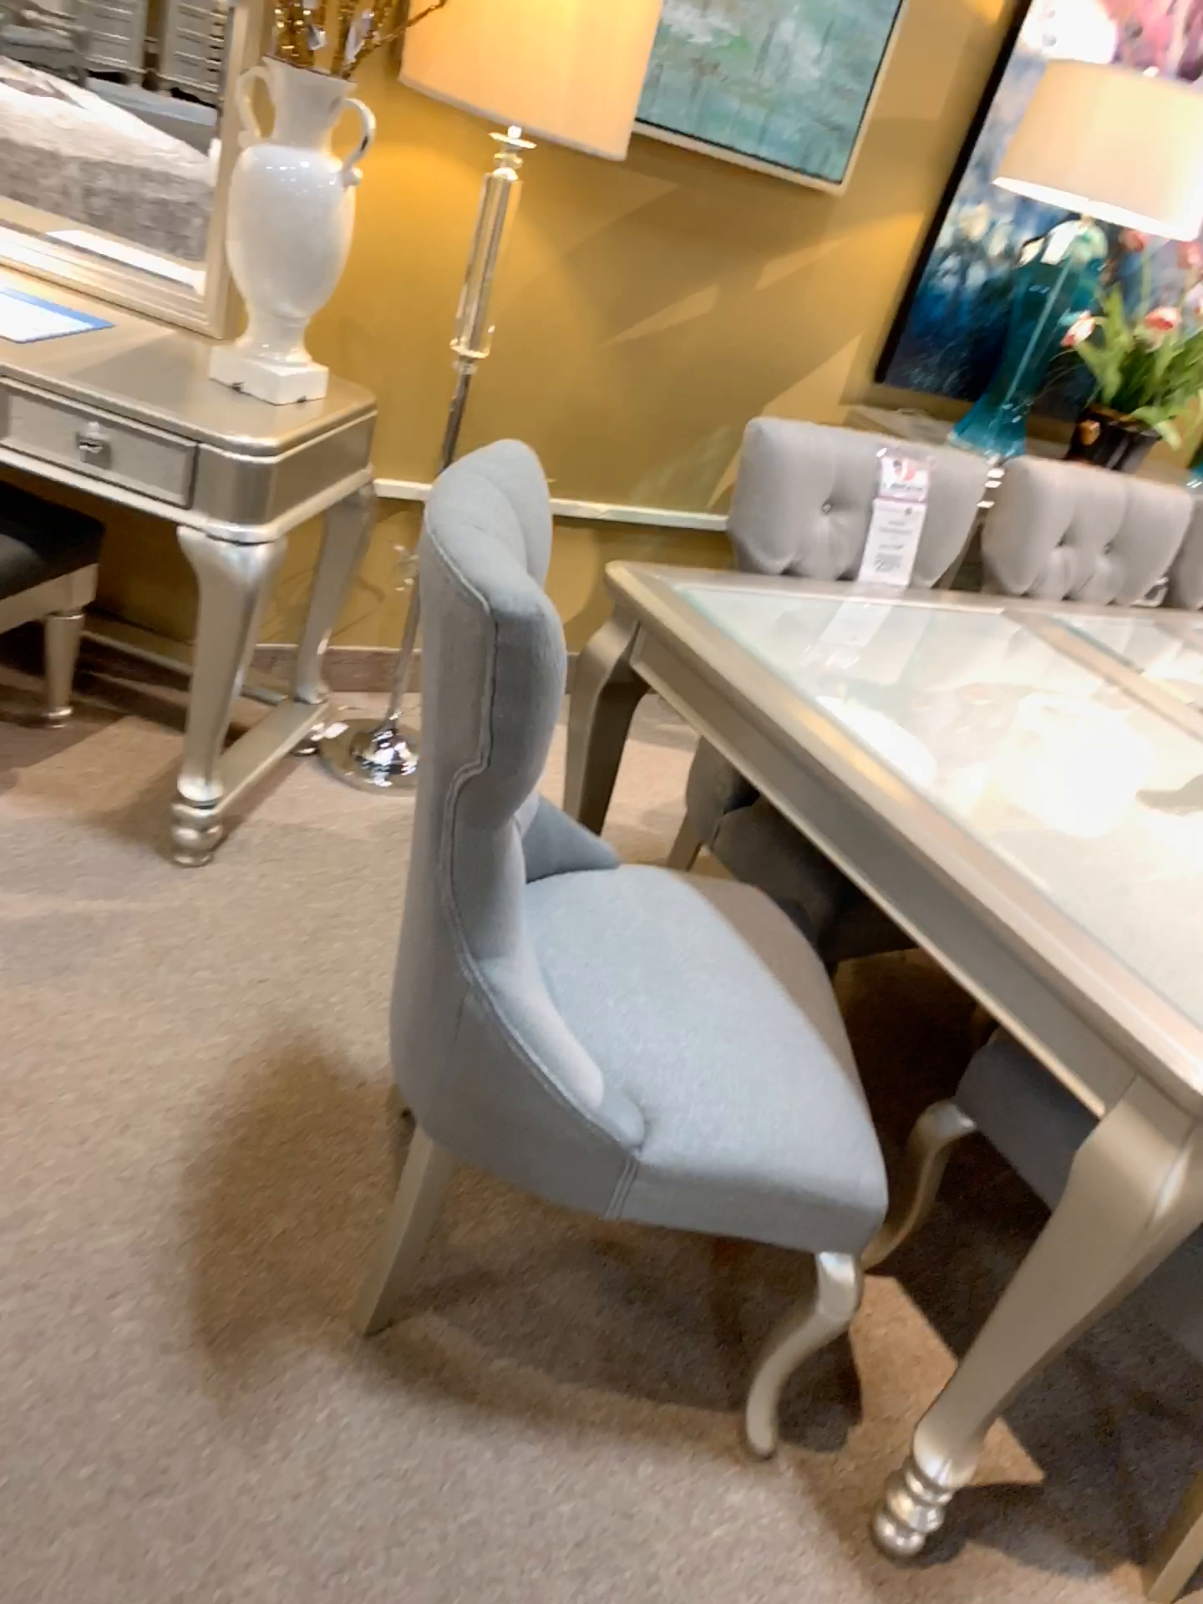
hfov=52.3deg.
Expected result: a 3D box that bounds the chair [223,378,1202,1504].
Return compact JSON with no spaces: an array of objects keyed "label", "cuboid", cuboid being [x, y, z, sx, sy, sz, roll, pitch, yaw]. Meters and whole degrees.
[{"label":"chair","cuboid":[0.063,0.162,1.306,0.680,0.915,0.583,12,29,-11]}]
